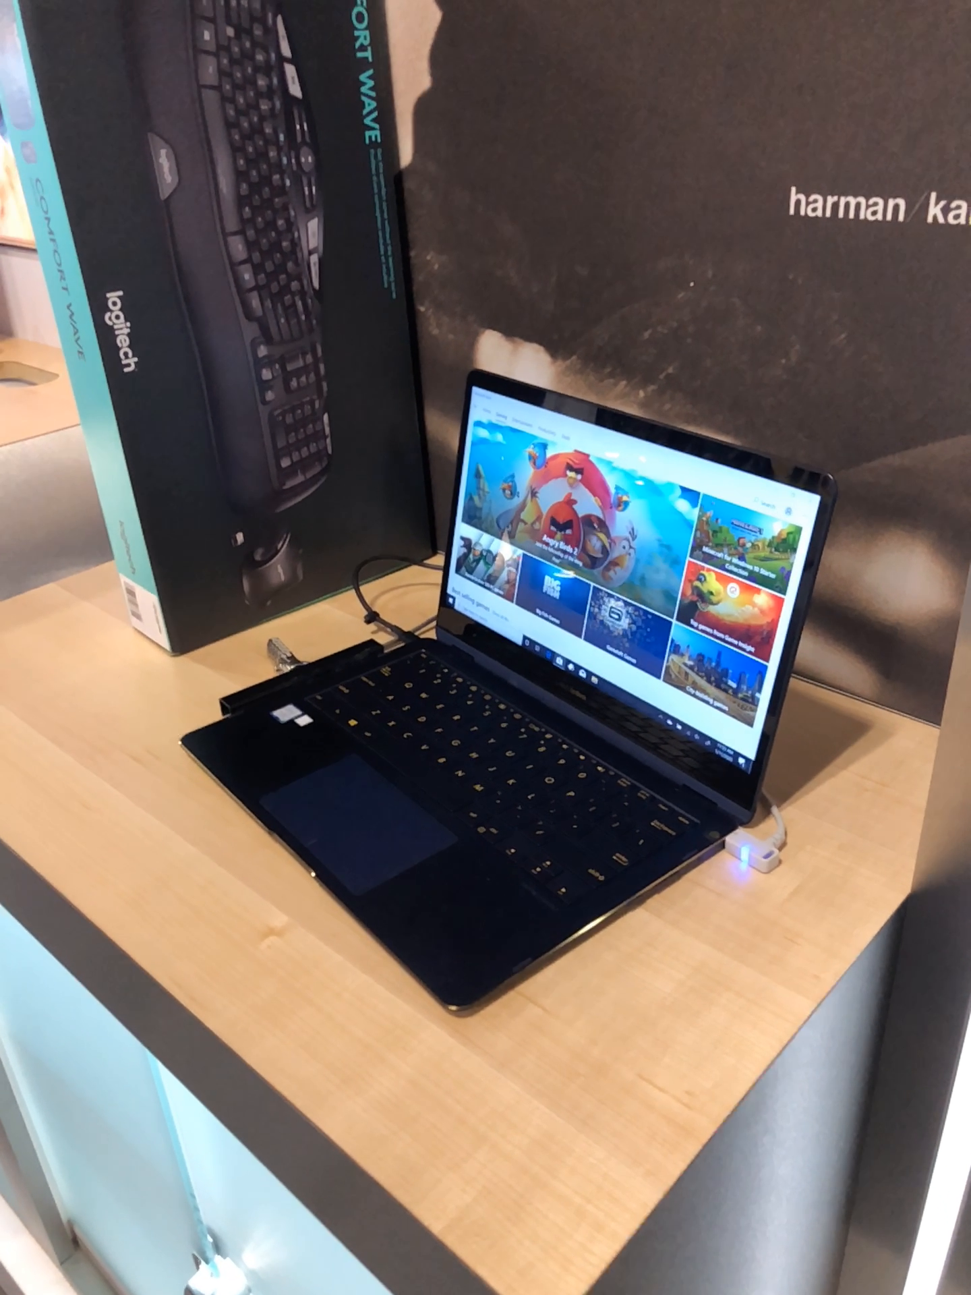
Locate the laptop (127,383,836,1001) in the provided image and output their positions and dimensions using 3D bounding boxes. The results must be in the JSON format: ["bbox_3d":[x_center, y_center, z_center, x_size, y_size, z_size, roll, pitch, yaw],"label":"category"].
[{"bbox_3d":[-0.010,-0.009,0.617,0.248,0.190,0.293,-23,34,-32],"label":"laptop"}]
